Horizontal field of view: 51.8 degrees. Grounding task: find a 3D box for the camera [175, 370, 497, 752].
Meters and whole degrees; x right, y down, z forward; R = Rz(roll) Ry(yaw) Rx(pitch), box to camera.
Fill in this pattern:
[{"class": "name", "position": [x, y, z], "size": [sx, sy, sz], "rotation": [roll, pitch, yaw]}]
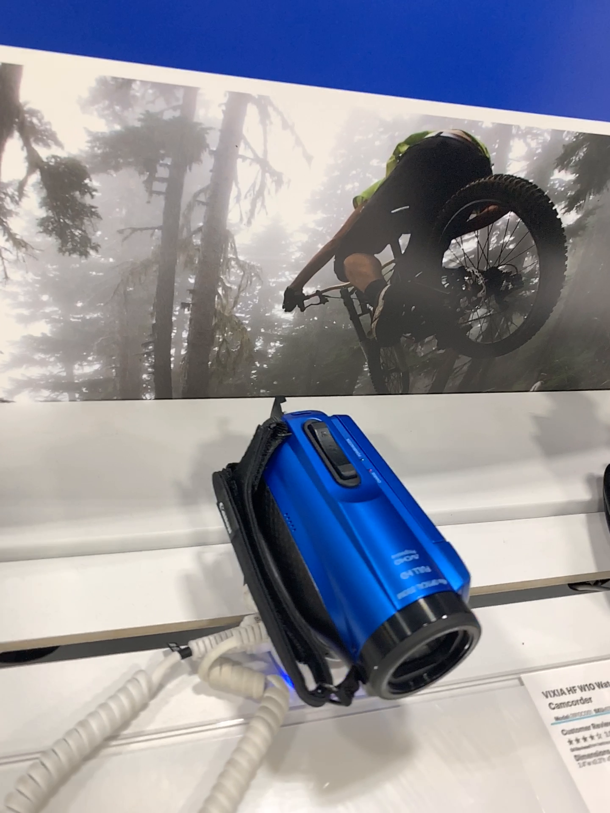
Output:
[{"class": "camera", "position": [0.001, 0.053, 0.273], "size": [0.072, 0.057, 0.144], "rotation": [-8, 42, -26]}]
